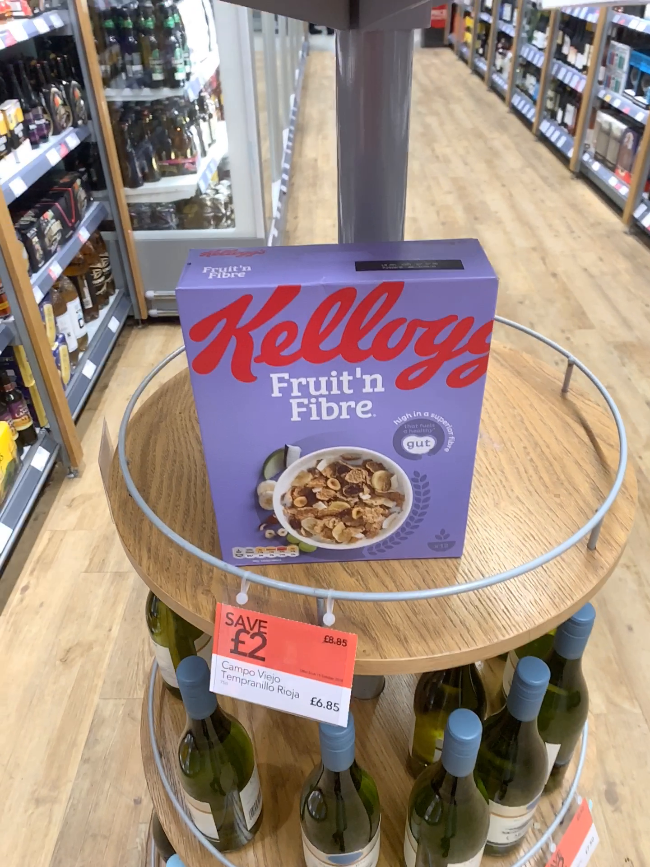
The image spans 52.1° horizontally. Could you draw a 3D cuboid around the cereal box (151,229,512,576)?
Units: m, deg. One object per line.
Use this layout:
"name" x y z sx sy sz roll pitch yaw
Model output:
"cereal box" 0.005 -0.011 0.466 0.200 0.238 0.071 -2 36 0
